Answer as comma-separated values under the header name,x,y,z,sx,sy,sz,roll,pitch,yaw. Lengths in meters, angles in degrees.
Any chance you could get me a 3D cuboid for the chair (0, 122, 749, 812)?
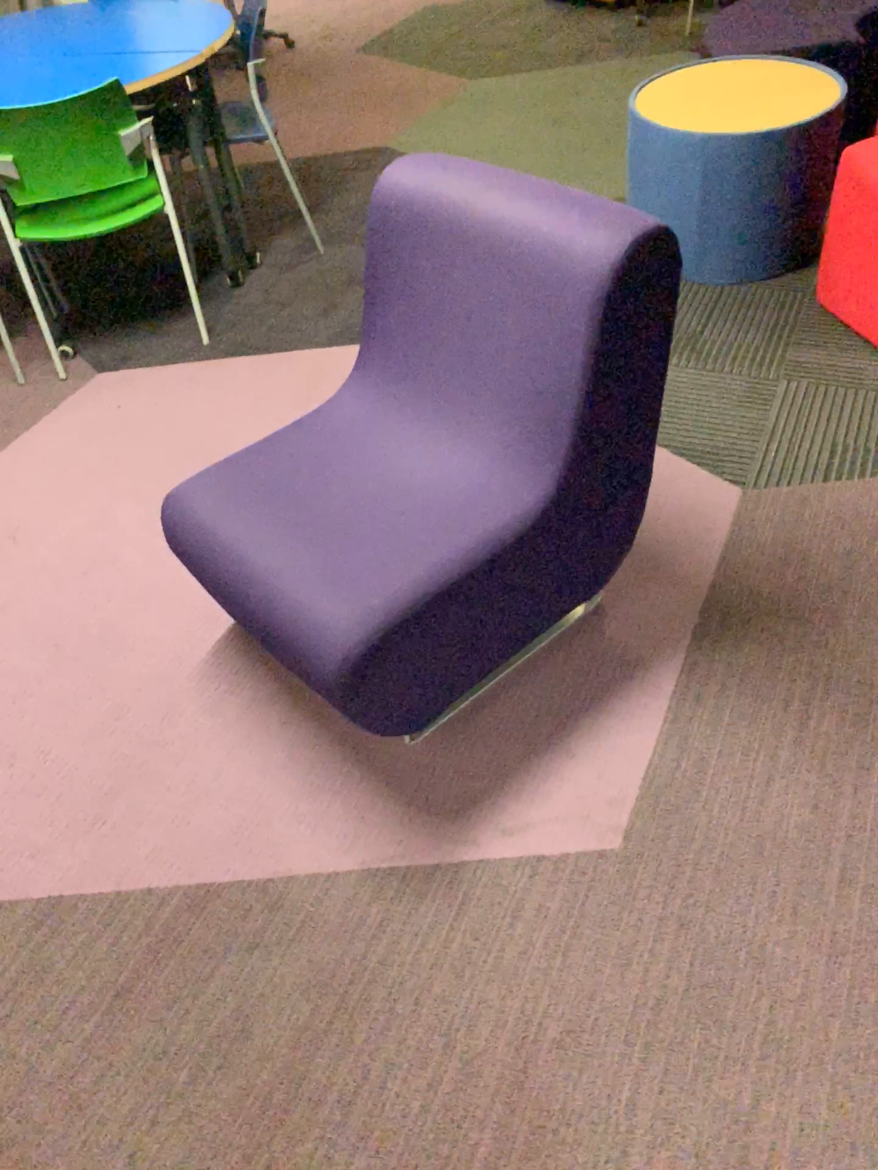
name,x,y,z,sx,sy,sz,roll,pitch,yaw
chair,-0.094,-0.282,1.546,0.823,0.614,0.805,-35,49,-25
